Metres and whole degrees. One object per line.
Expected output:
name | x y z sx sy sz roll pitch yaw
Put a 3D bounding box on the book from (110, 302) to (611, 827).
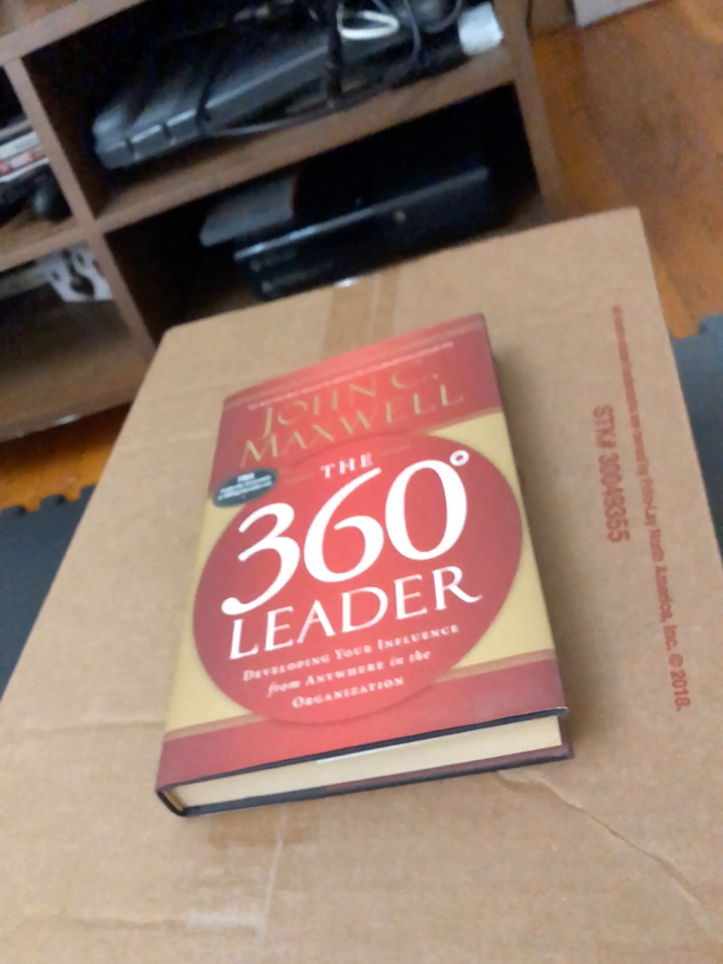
book | -0.003 0.021 0.374 0.180 0.030 0.241 -15 42 15
